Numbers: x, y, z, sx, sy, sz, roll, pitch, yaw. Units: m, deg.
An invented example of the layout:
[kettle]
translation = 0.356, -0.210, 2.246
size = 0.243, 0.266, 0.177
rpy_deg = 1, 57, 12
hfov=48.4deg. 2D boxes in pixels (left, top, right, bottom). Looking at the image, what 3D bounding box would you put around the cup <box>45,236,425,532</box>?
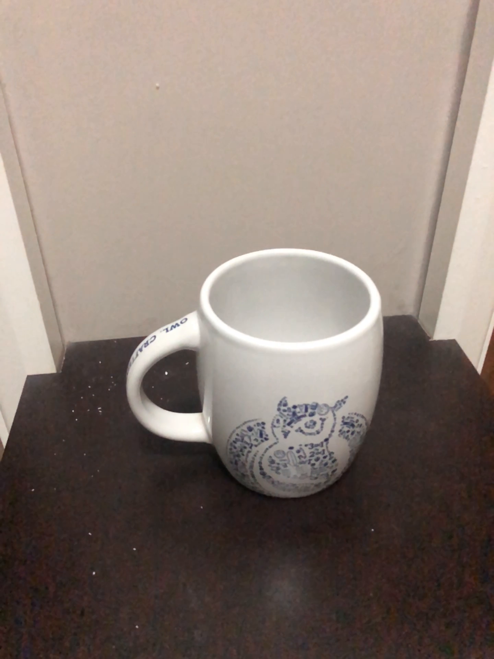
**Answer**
[cup]
translation = -0.007, 0.018, 0.251
size = 0.130, 0.079, 0.101
rpy_deg = -4, 34, -4
